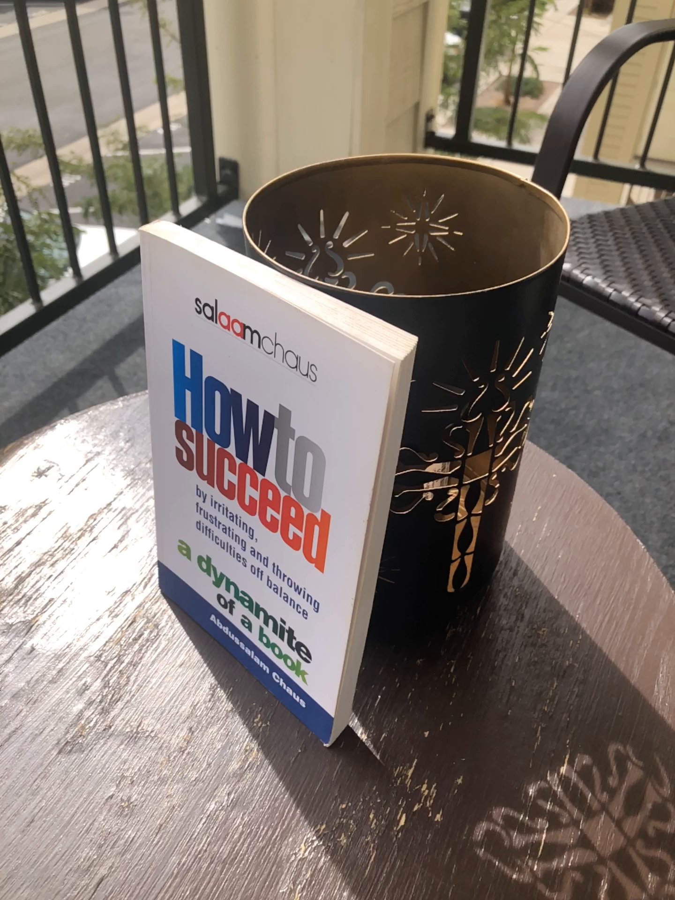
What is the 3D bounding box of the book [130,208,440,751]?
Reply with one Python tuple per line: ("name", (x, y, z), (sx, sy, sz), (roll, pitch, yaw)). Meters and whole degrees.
("book", (-0.036, 0.020, 0.326), (0.138, 0.207, 0.018), (32, 42, 30))
